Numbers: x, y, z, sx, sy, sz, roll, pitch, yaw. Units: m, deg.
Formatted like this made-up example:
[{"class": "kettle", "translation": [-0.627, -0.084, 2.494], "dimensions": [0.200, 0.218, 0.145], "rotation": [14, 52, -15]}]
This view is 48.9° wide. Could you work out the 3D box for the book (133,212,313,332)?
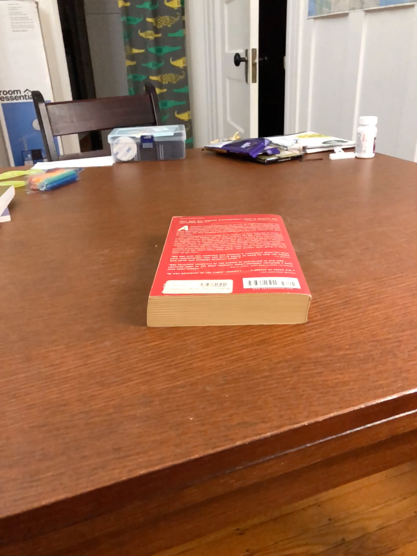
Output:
[{"class": "book", "translation": [0.014, -0.017, 0.458], "dimensions": [0.140, 0.030, 0.211], "rotation": [-1, 26, 2]}]
